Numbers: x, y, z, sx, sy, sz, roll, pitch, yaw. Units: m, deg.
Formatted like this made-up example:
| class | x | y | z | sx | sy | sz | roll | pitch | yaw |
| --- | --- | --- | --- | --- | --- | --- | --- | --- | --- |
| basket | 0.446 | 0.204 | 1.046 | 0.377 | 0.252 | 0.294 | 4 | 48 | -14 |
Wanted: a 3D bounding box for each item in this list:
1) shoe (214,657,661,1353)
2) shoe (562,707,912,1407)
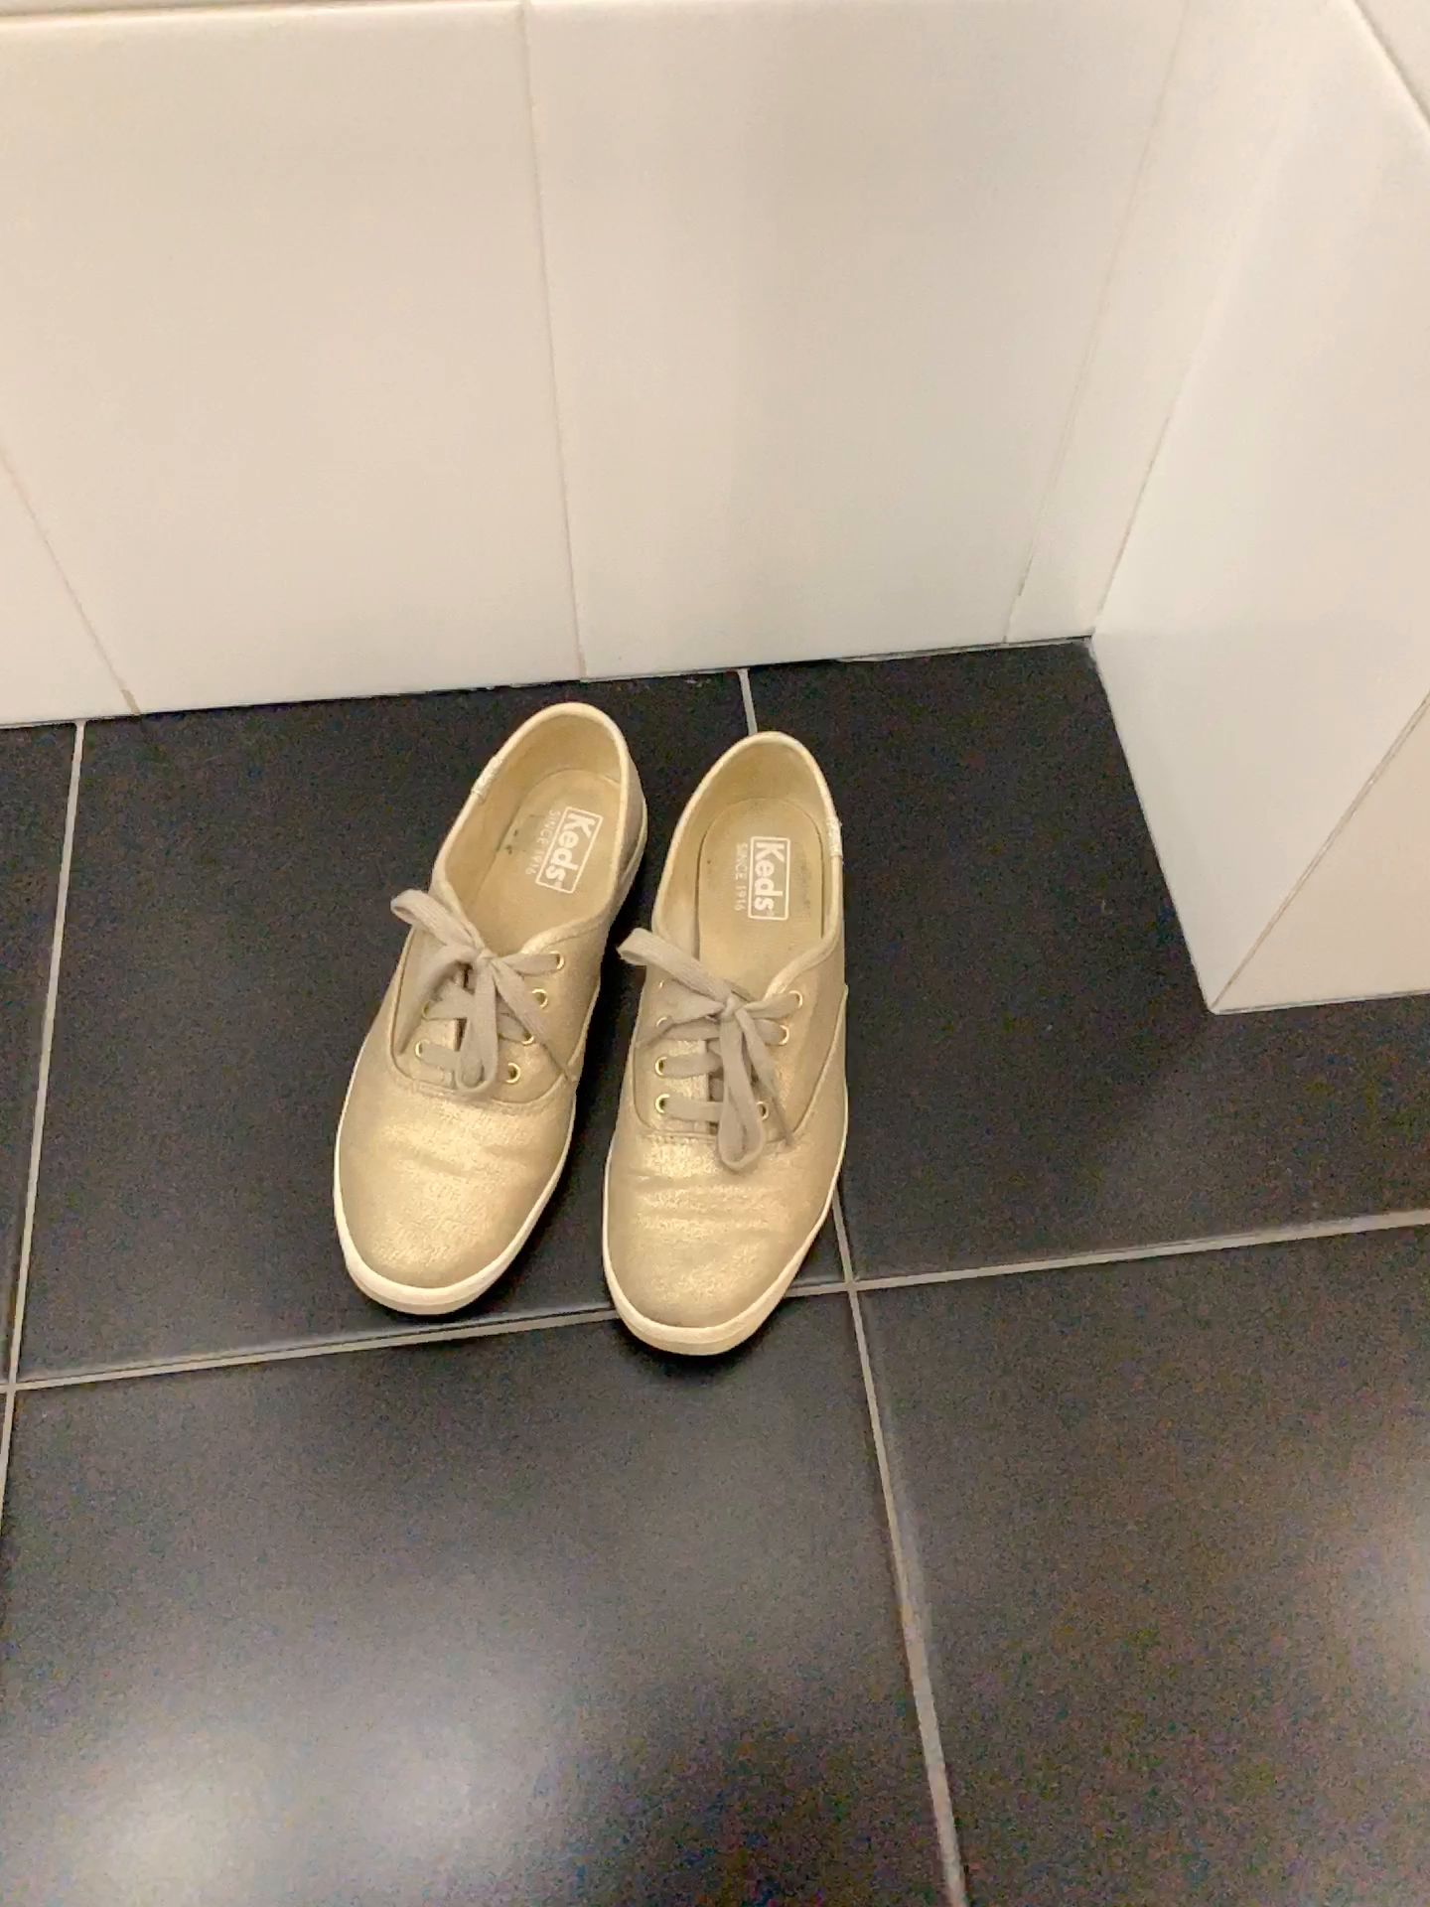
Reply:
| class | x | y | z | sx | sy | sz | roll | pitch | yaw |
| --- | --- | --- | --- | --- | --- | --- | --- | --- | --- |
| shoe | -0.090 | 0.015 | 0.553 | 0.090 | 0.100 | 0.231 | 11 | 60 | 4 |
| shoe | 0.013 | 0.035 | 0.548 | 0.090 | 0.100 | 0.231 | 8 | 60 | 2 |
